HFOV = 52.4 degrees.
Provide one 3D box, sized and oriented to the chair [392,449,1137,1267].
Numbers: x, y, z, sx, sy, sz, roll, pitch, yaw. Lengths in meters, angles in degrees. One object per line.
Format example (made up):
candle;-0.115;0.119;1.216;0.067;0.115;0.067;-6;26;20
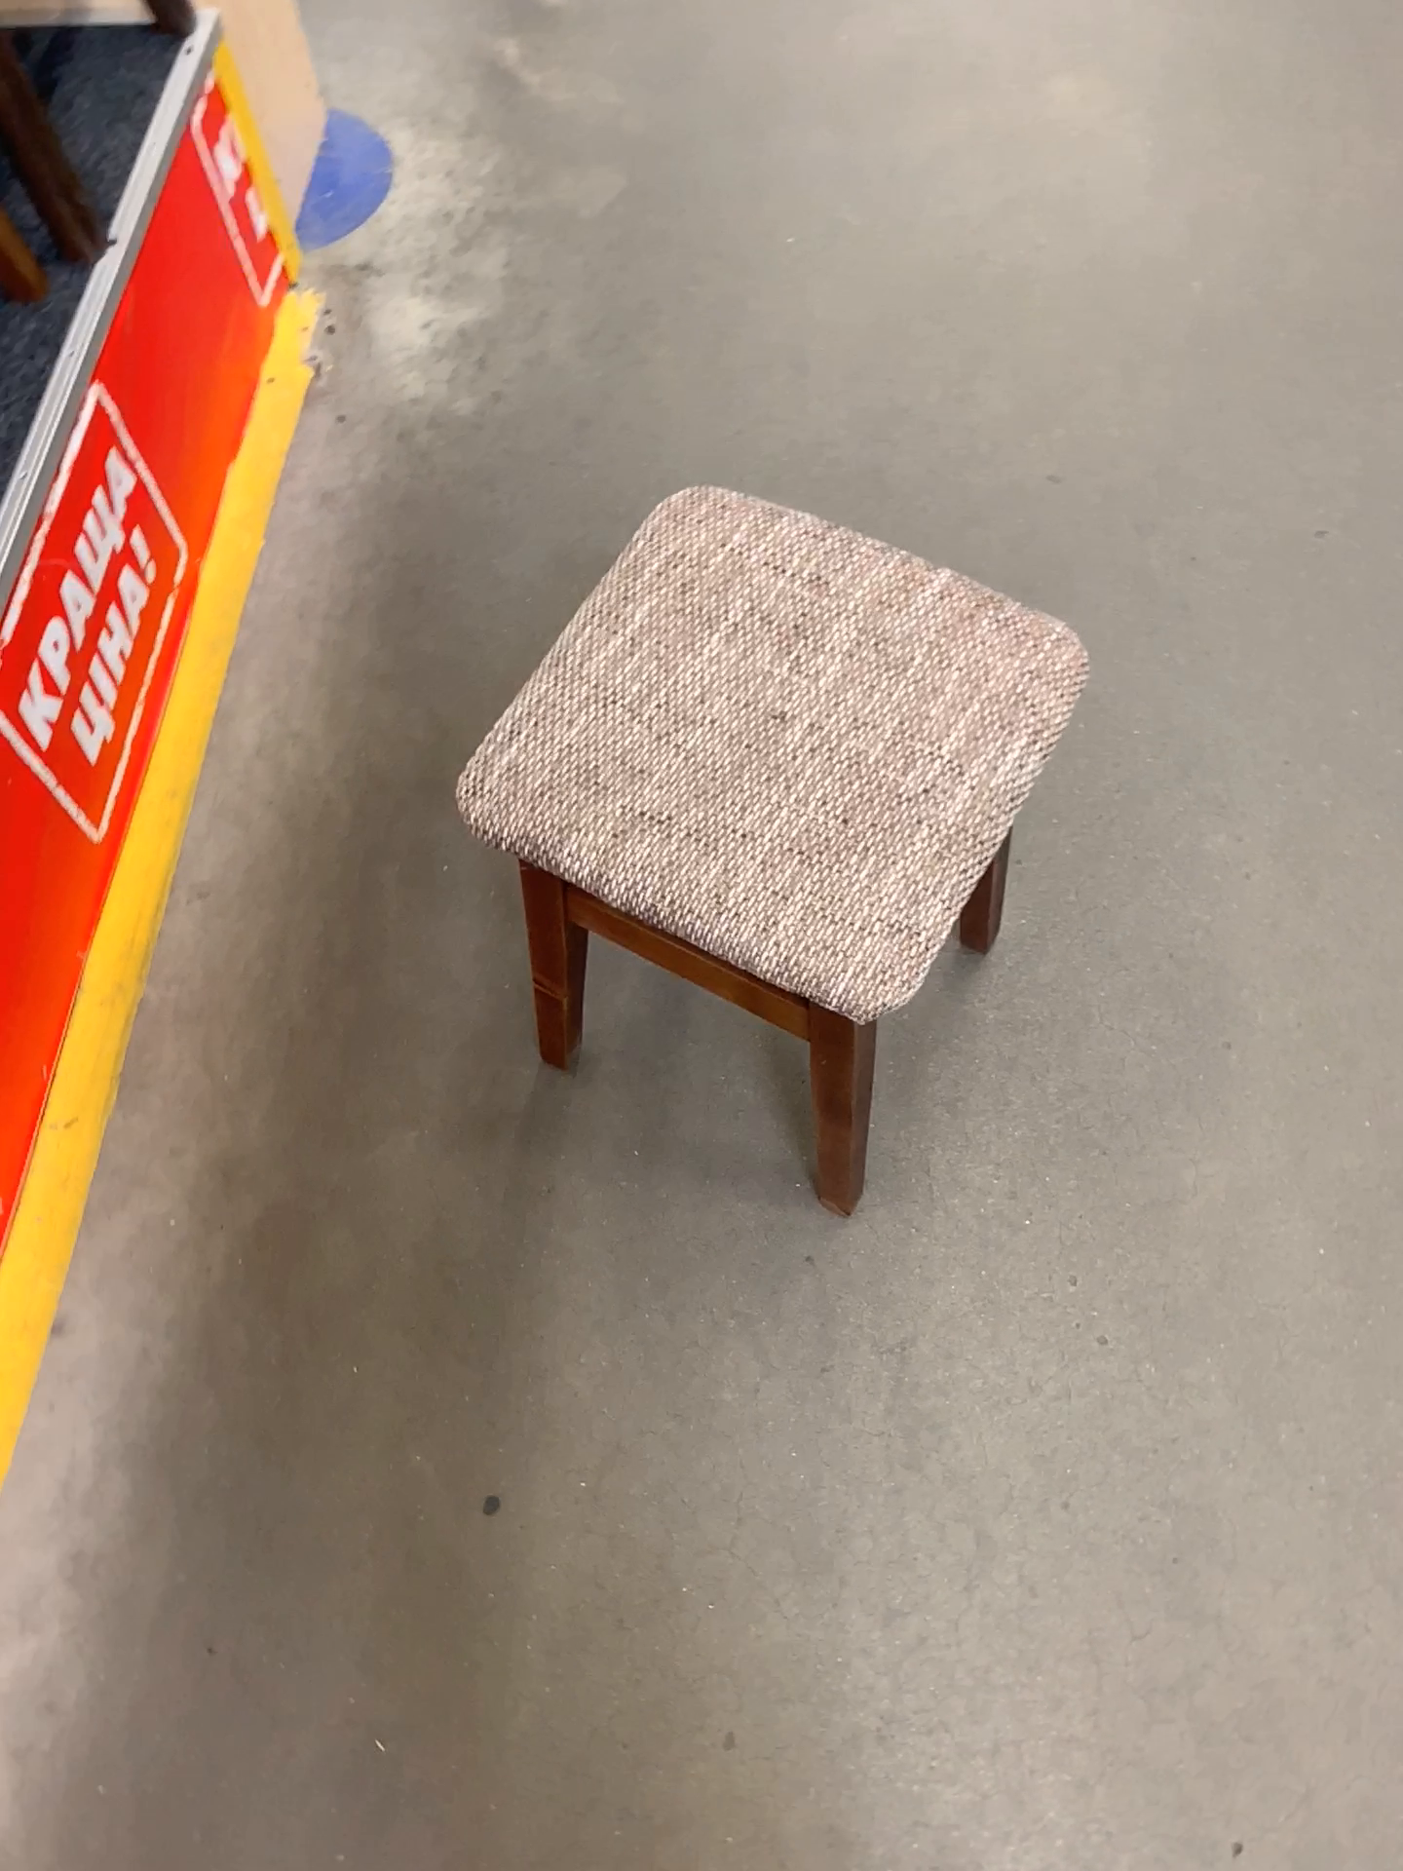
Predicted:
chair;0.056;-0.032;1.126;0.360;0.479;0.340;25;67;15
